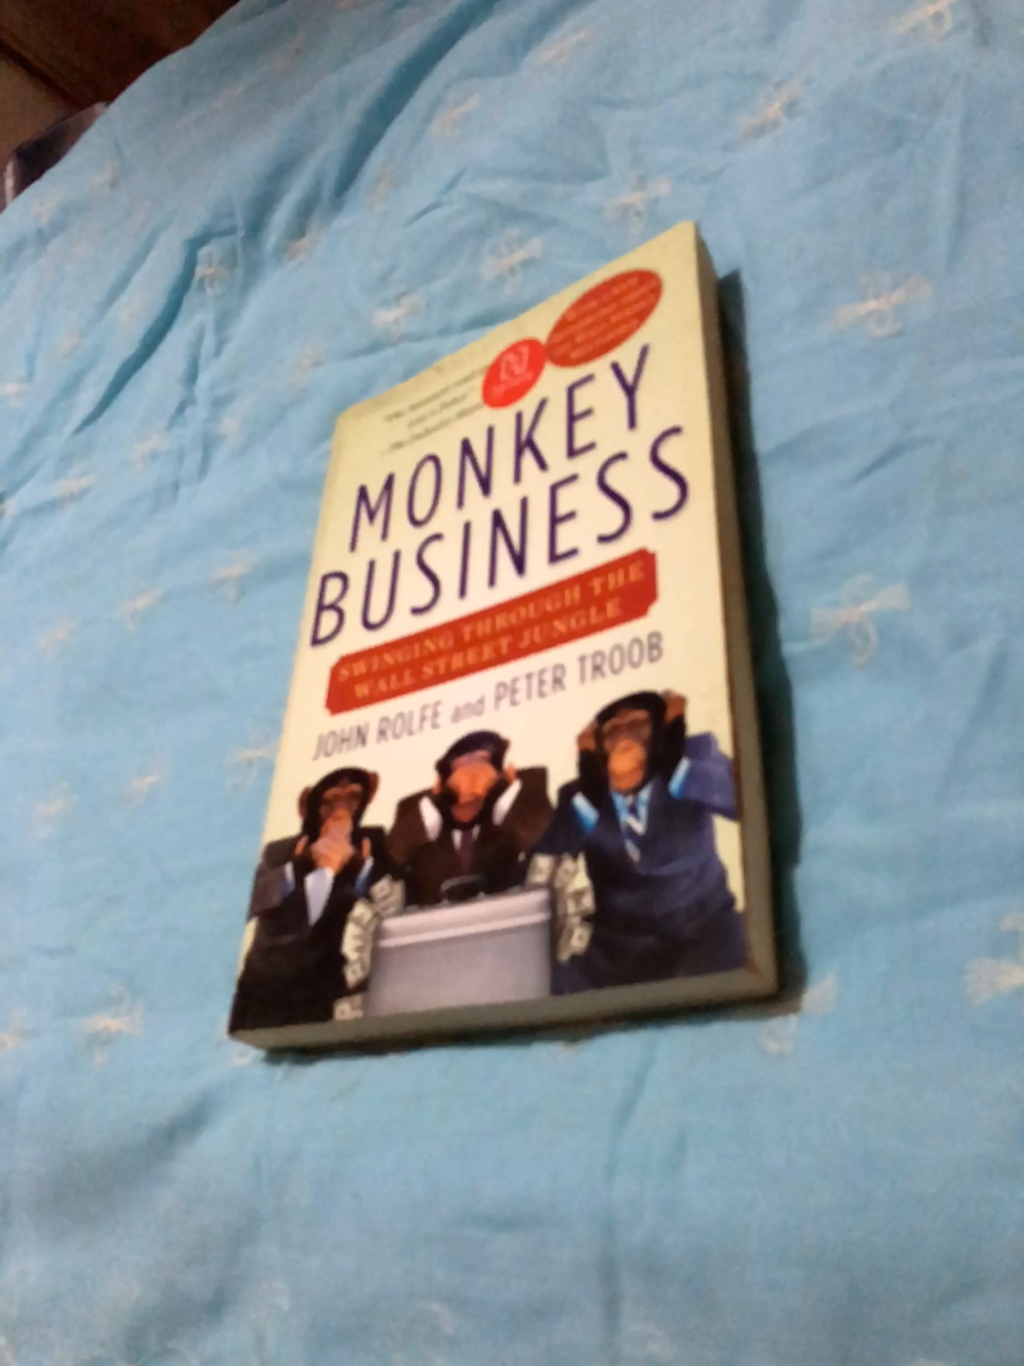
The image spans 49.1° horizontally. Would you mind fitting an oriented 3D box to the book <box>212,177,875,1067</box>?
[{"bbox_3d":[0.002,-0.021,0.340,0.171,0.040,0.240,-19,54,30],"label":"book"}]
